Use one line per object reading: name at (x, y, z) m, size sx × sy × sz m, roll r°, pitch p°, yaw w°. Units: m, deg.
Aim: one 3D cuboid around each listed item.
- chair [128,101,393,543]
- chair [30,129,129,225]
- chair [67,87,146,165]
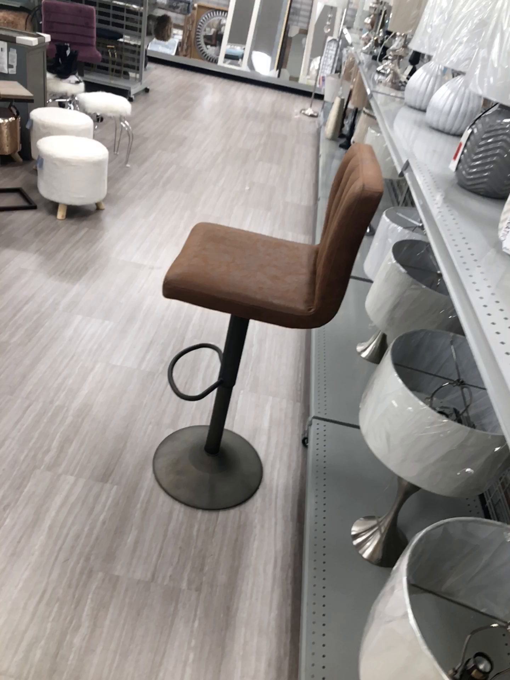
chair at (-0.024, -0.016, 1.609) m, size 0.468 × 1.102 × 0.477 m, roll 13°, pitch 32°, yaw 1°
chair at (-1.084, -0.997, 3.437) m, size 0.465 × 0.406 × 0.490 m, roll -7°, pitch 37°, yaw -28°
chair at (-1.163, -1.692, 4.420) m, size 0.464 × 0.406 × 0.491 m, roll 11°, pitch 32°, yaw -3°
